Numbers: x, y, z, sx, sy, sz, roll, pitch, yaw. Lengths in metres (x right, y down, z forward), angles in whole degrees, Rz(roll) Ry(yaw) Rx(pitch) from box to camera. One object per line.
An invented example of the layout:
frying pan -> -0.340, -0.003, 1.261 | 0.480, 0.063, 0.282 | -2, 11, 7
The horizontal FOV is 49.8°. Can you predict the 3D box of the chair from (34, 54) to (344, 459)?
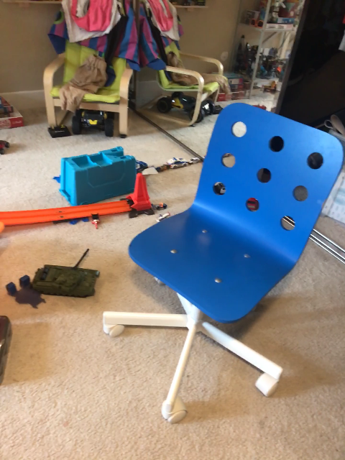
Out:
chair -> 0.048, 0.055, 0.850 | 0.520, 0.705, 0.363 | 27, 41, 25
